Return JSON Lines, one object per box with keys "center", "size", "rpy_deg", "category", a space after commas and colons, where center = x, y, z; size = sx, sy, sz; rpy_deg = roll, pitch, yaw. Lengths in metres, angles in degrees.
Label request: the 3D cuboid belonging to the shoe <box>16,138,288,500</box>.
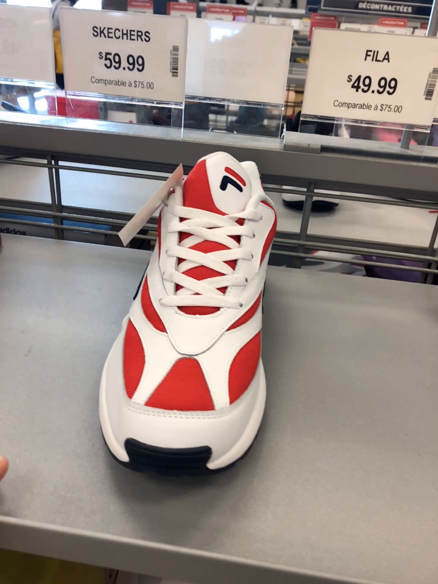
{"center": [-0.018, -0.014, 0.362], "size": [0.120, 0.129, 0.272], "rpy_deg": [7, 31, 5], "category": "shoe"}
